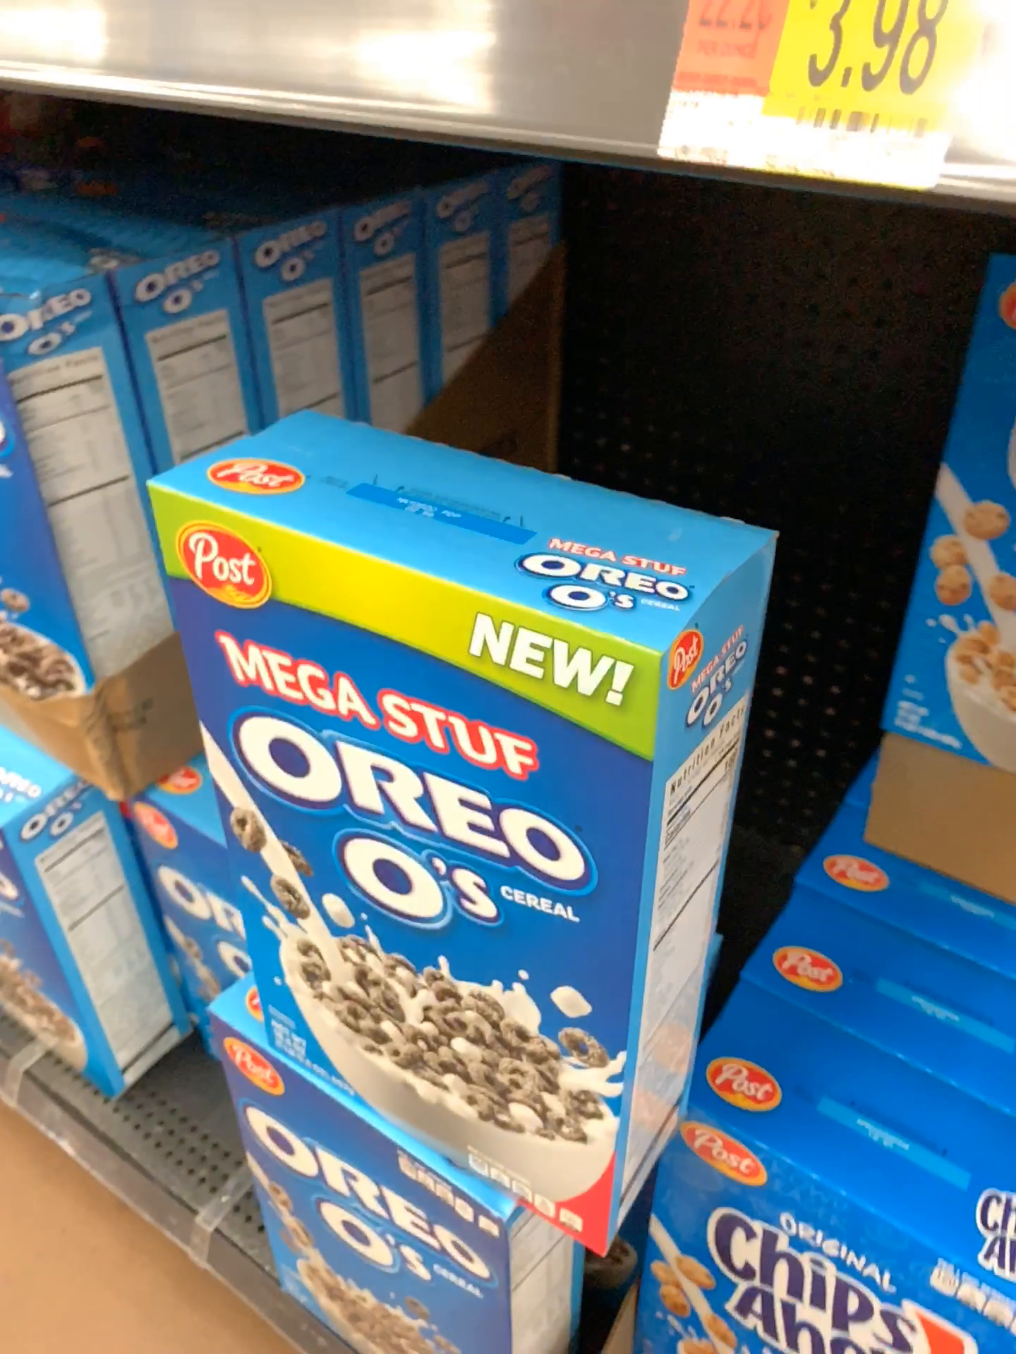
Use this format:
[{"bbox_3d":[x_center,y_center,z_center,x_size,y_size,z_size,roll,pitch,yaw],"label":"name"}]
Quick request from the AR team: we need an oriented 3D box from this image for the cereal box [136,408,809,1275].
[{"bbox_3d":[-0.017,0.070,0.415,0.200,0.298,0.080,19,39,25],"label":"cereal box"}]
